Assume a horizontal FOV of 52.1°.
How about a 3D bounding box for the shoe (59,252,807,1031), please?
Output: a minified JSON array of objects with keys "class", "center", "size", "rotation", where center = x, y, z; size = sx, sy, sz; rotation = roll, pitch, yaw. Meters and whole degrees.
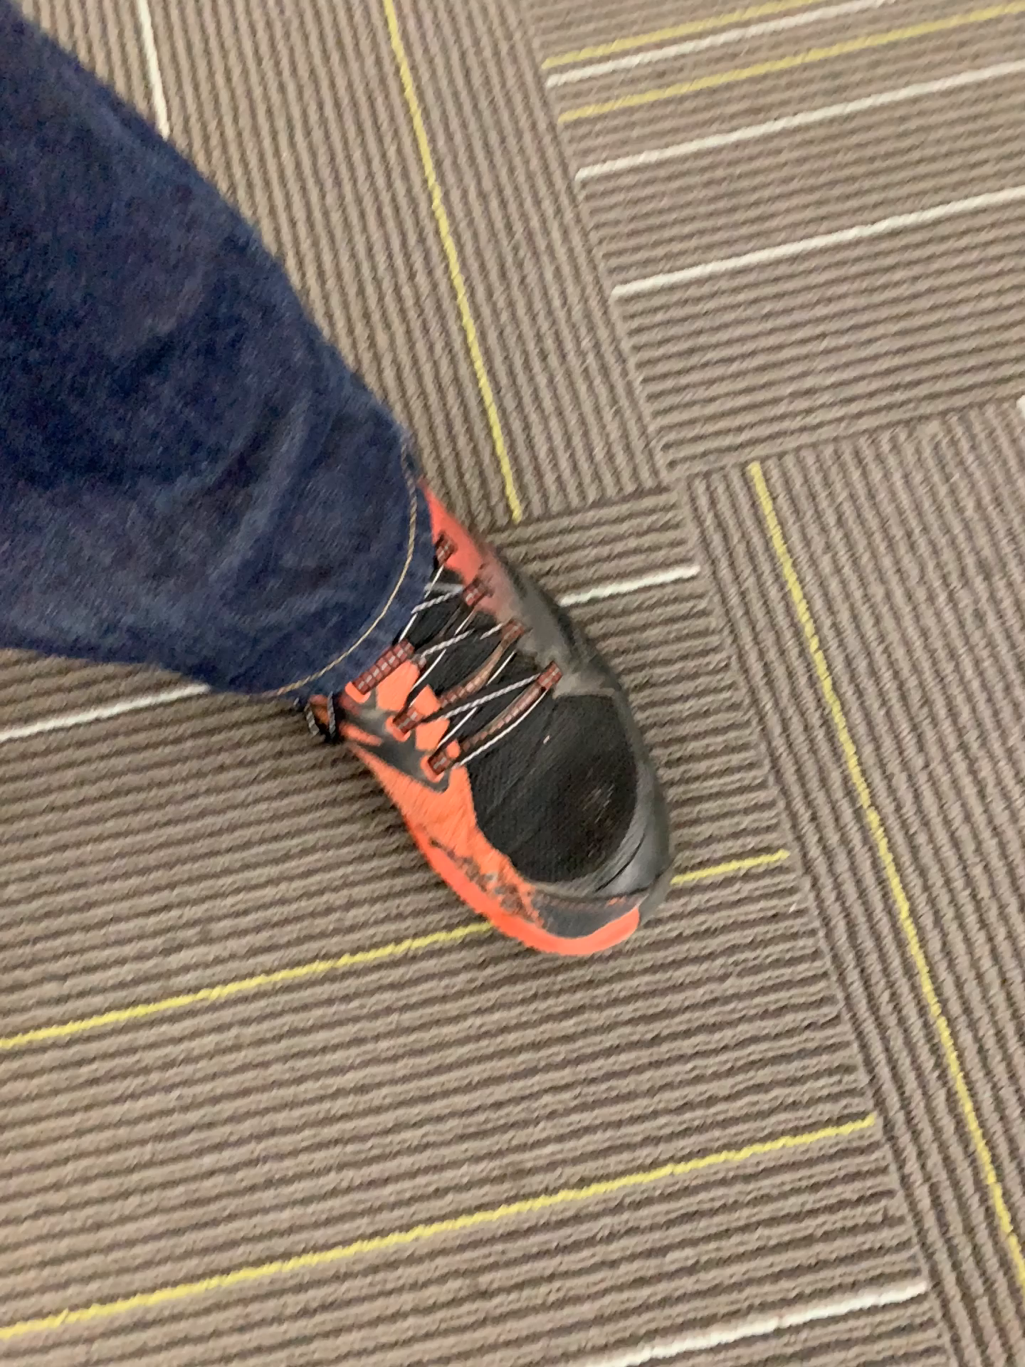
[{"class":"shoe","center":[-0.038,-0.019,0.450],"size":[0.130,0.100,0.300],"rotation":[-39,76,-7]}]
